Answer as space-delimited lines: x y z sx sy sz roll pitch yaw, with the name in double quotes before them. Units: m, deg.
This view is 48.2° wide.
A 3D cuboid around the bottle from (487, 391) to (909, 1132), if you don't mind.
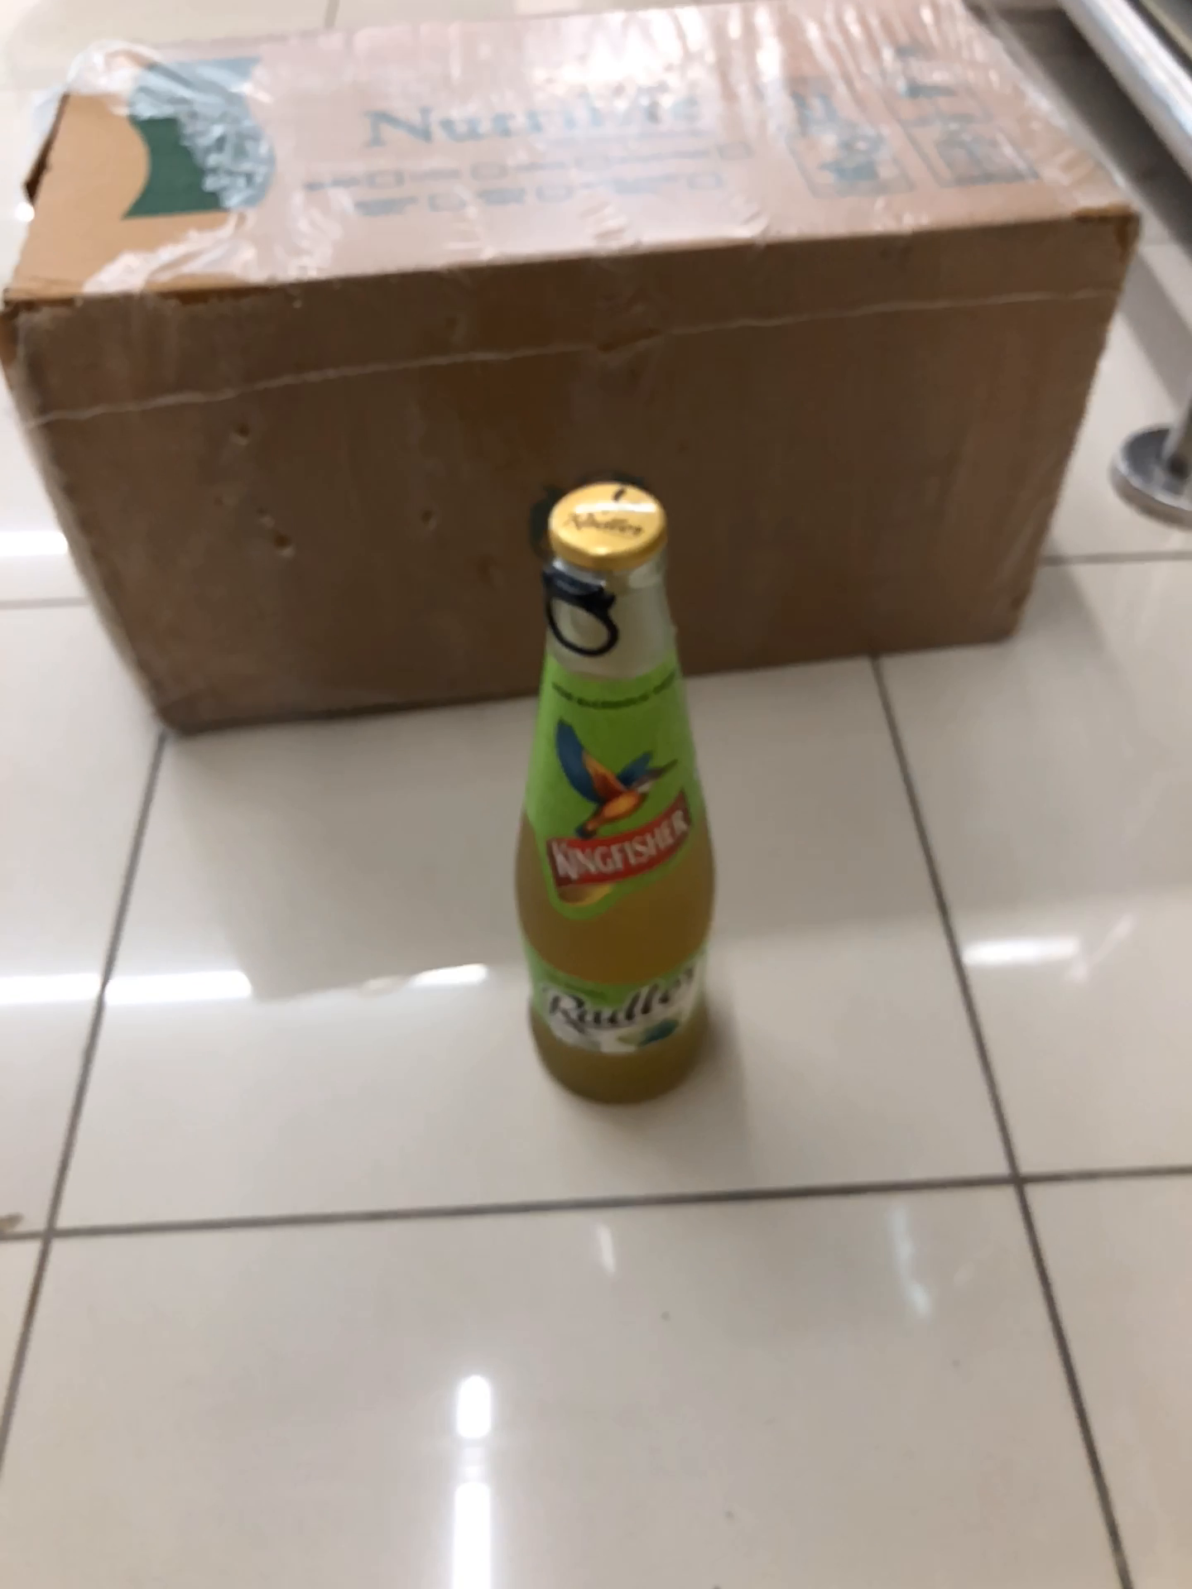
"bottle" 0.020 0.004 0.360 0.080 0.199 0.080 -1 48 1
